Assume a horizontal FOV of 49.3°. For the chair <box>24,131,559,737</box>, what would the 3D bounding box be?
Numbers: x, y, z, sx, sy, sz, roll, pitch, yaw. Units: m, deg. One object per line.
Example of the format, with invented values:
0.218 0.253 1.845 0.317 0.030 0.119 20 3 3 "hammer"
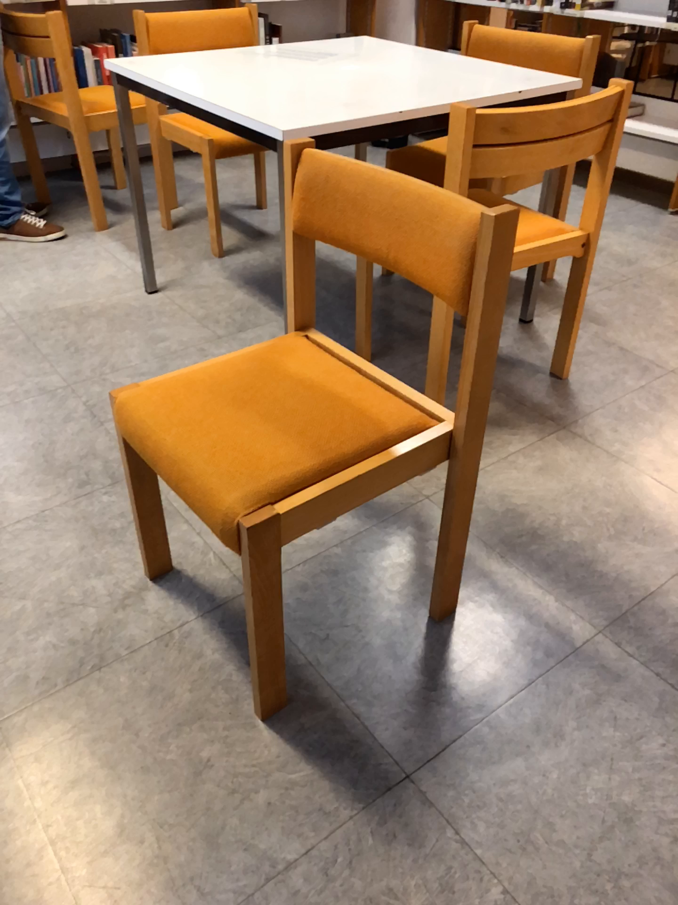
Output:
-0.084 -0.073 1.227 0.522 0.696 0.551 -24 42 -30 "chair"
